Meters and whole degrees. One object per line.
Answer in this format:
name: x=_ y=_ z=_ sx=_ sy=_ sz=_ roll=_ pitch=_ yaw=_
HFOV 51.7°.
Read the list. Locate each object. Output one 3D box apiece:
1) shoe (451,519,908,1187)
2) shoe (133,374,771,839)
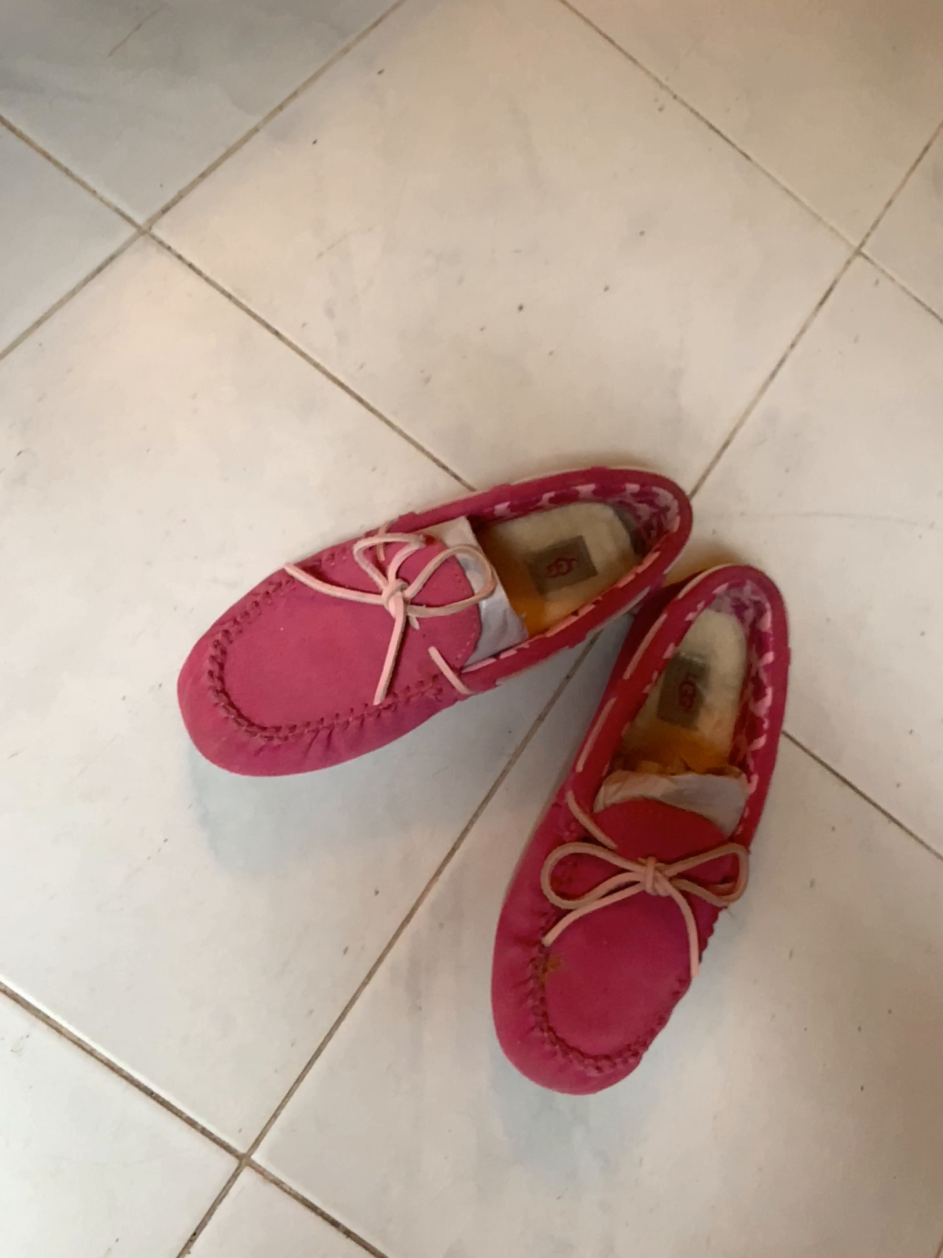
shoe: x=0.088 y=0.083 z=0.403 sx=0.090 sy=0.084 sz=0.227 roll=28 pitch=69 yaw=-7
shoe: x=-0.007 y=-0.011 z=0.398 sx=0.228 sy=0.084 sz=0.090 roll=-25 pitch=83 yaw=-21
